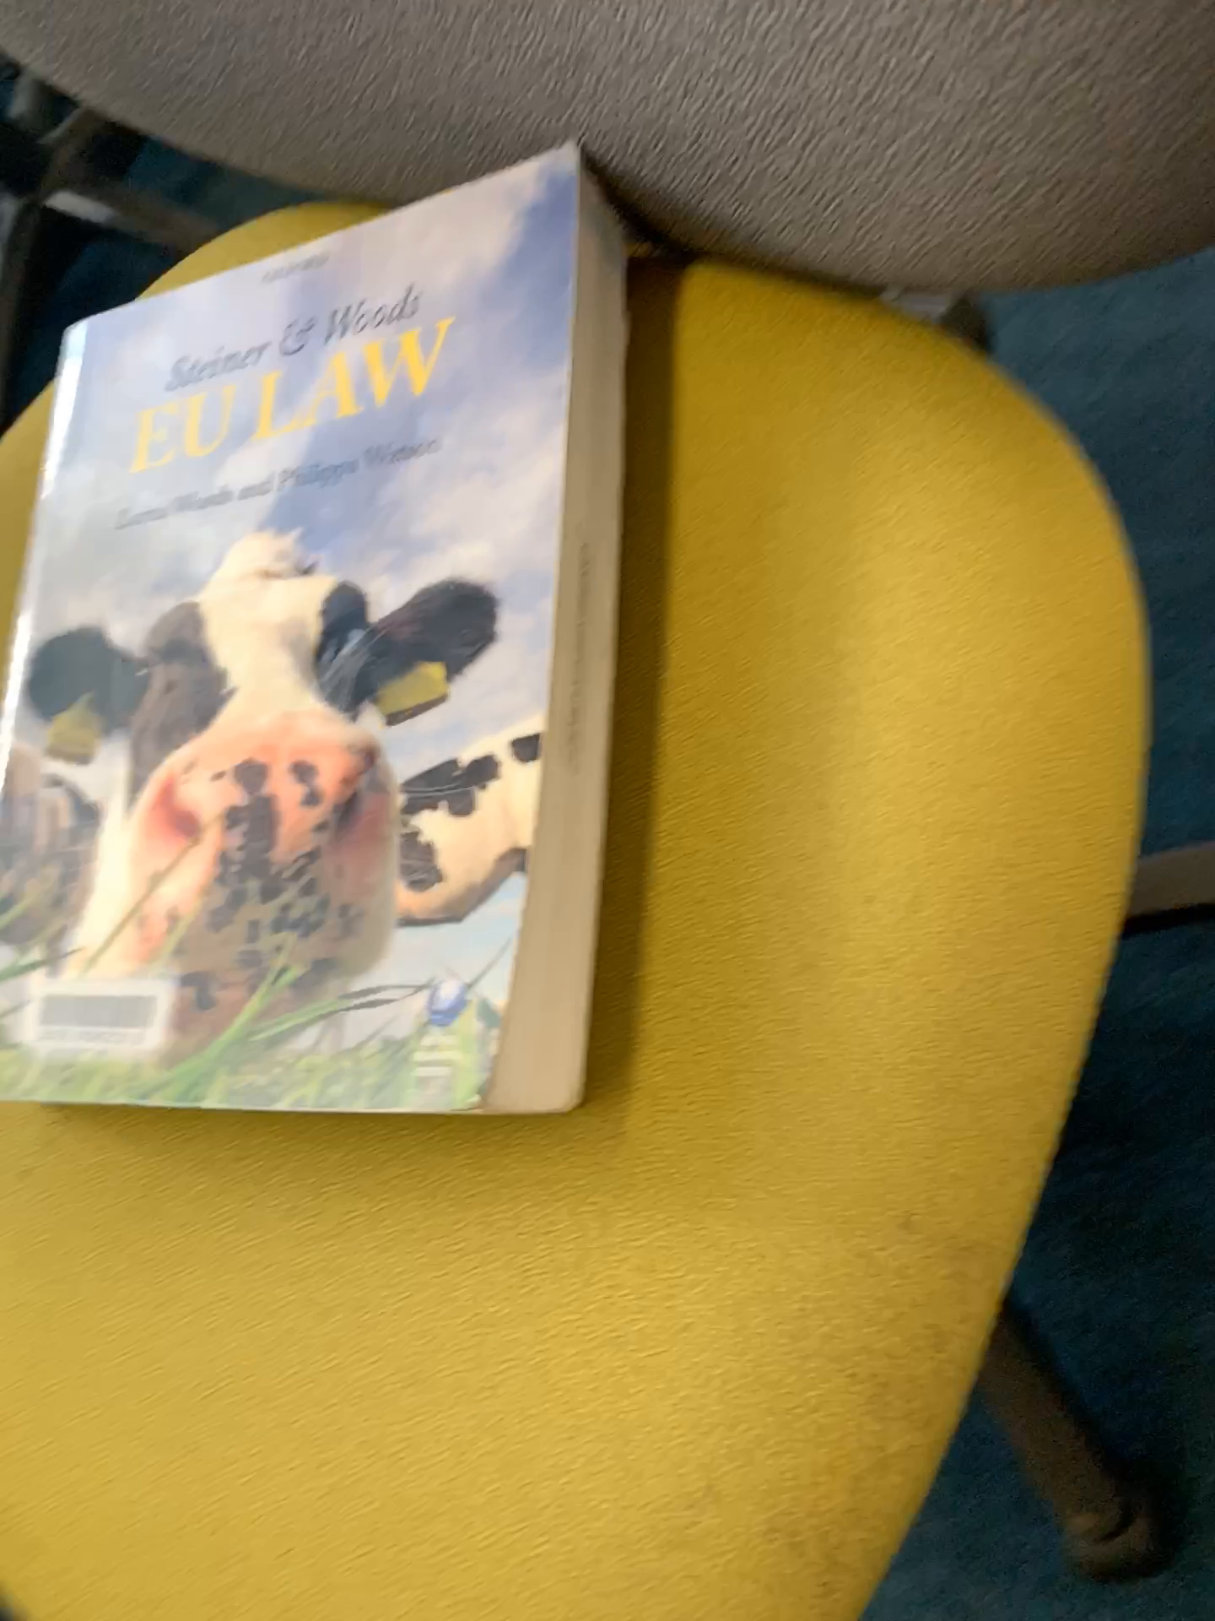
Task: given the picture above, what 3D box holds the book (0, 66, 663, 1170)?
[{"bbox_3d":[-0.091,-0.044,0.335,0.201,0.050,0.261,-6,70,26],"label":"book"}]
